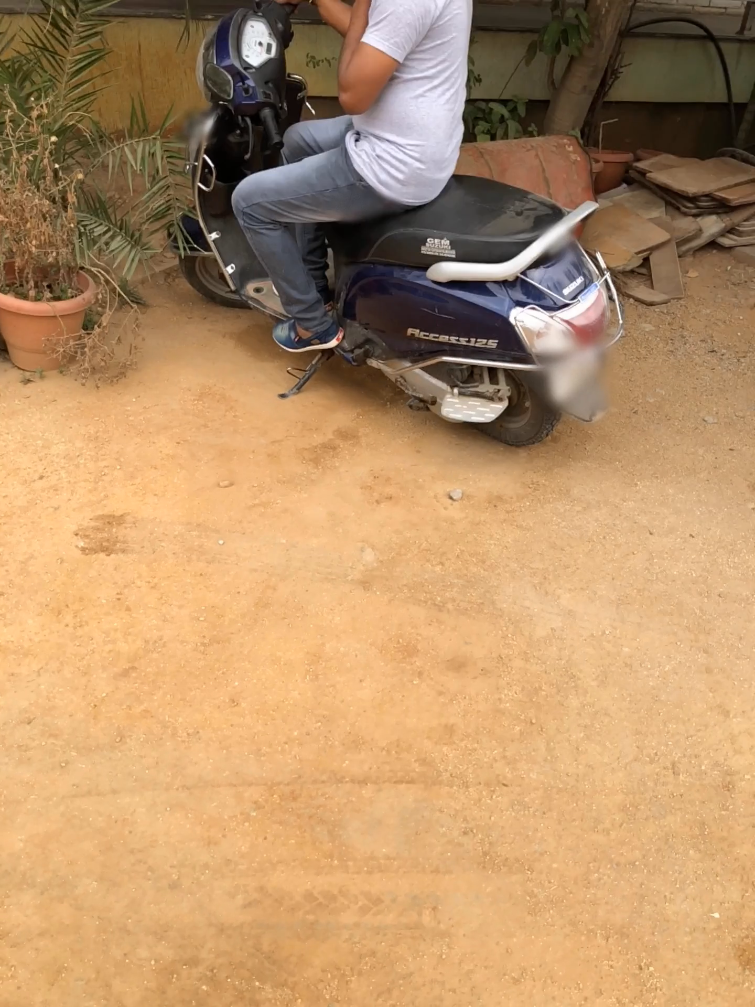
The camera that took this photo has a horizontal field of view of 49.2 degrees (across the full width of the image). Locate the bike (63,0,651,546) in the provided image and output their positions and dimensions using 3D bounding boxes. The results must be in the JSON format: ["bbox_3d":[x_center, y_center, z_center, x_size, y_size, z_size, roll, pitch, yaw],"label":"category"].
[{"bbox_3d":[-0.145,-0.864,2.542,1.622,1.221,0.591,27,41,28],"label":"bike"}]
